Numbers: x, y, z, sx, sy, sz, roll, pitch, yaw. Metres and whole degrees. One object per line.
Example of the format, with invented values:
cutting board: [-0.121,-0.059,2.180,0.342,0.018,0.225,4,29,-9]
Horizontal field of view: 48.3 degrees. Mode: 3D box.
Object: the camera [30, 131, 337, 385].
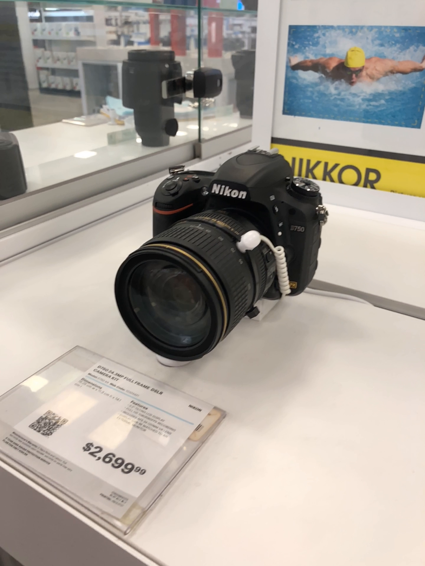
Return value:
camera: [-0.010,-0.039,0.362,0.150,0.110,0.170,15,31,25]
